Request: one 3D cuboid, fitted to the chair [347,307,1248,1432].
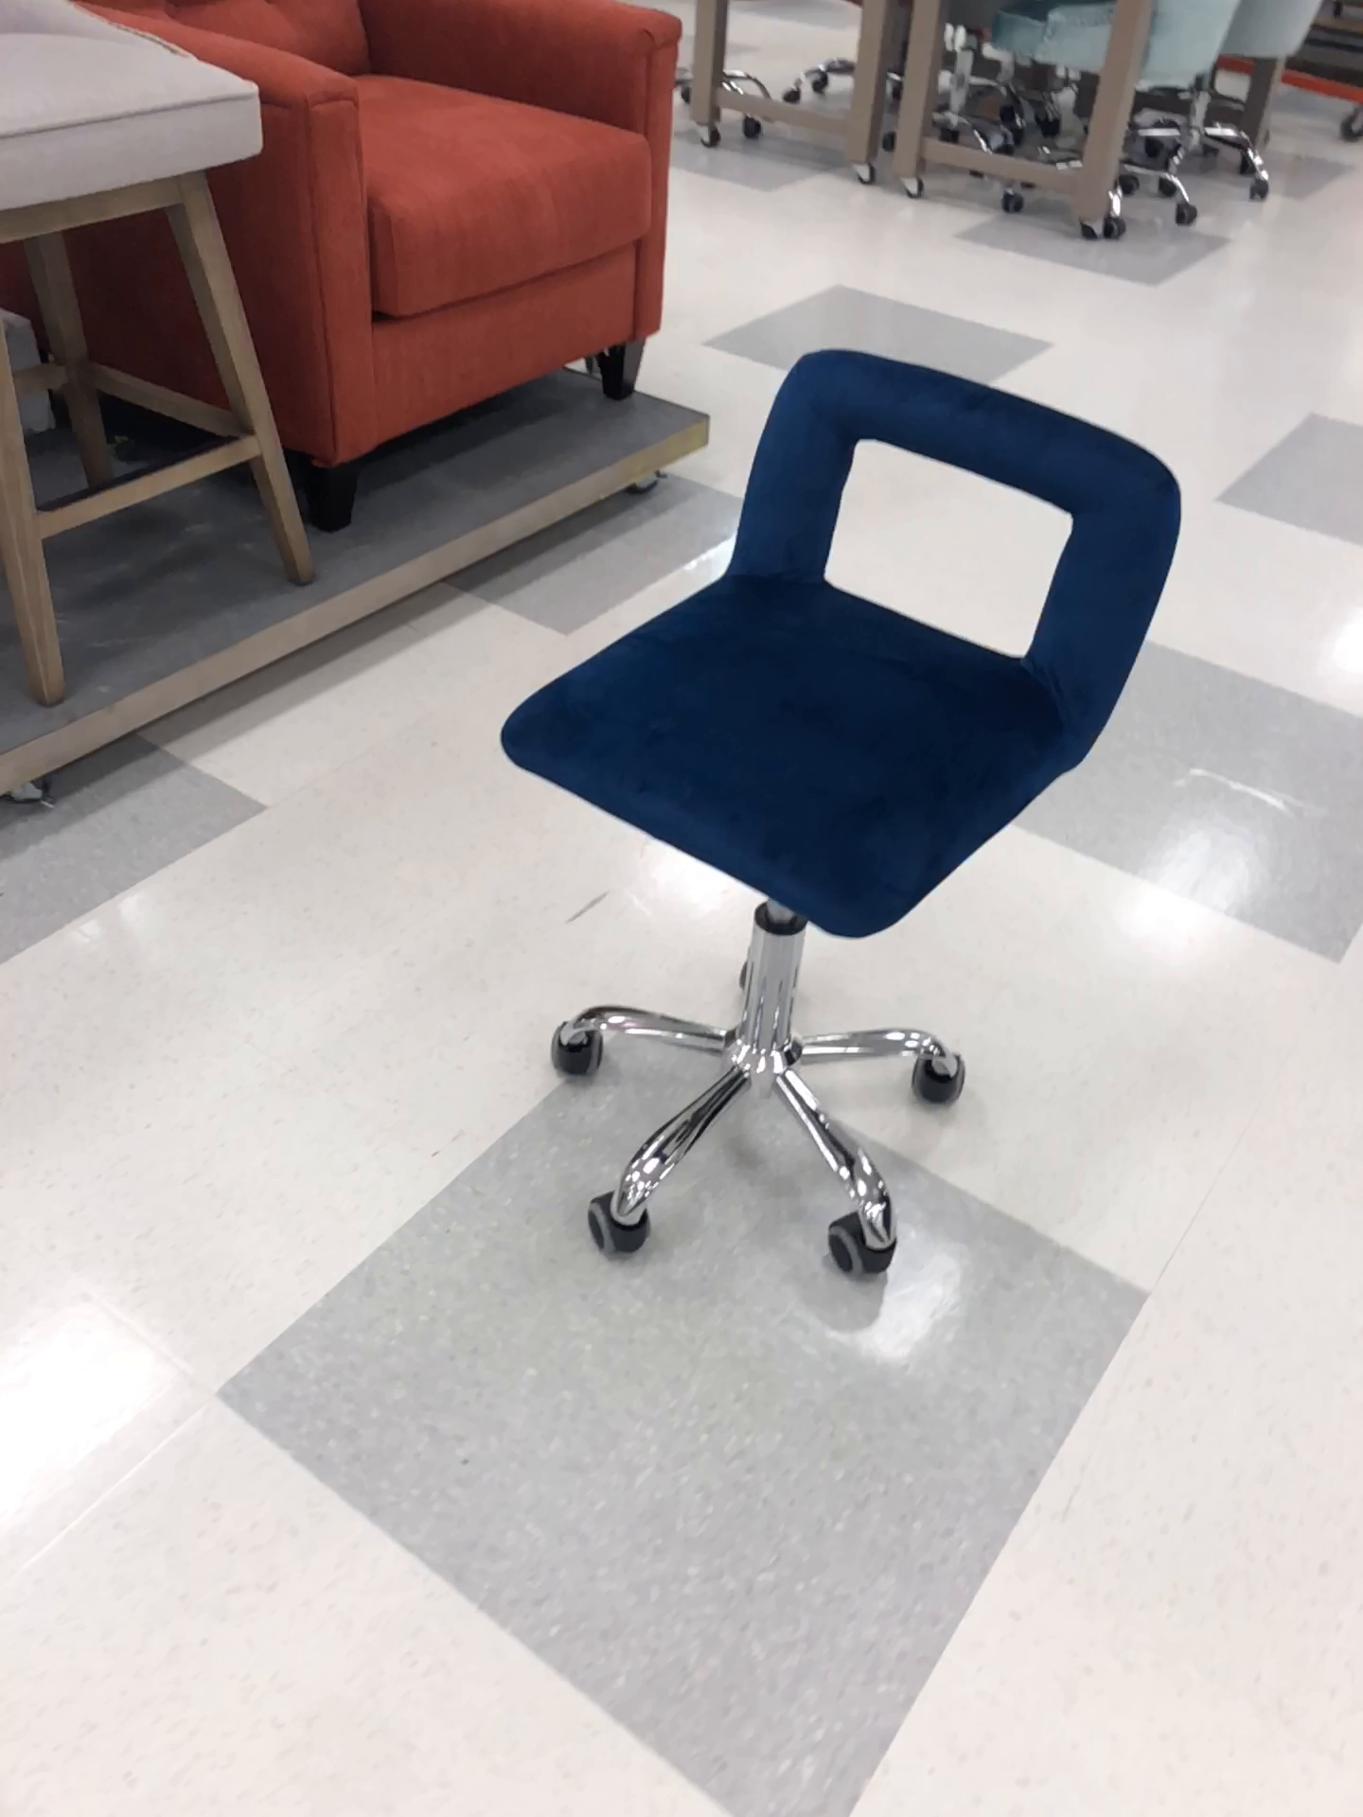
[{"bbox_3d":[0.087,-0.054,1.320,0.448,0.719,0.531,27,44,27],"label":"chair"}]
